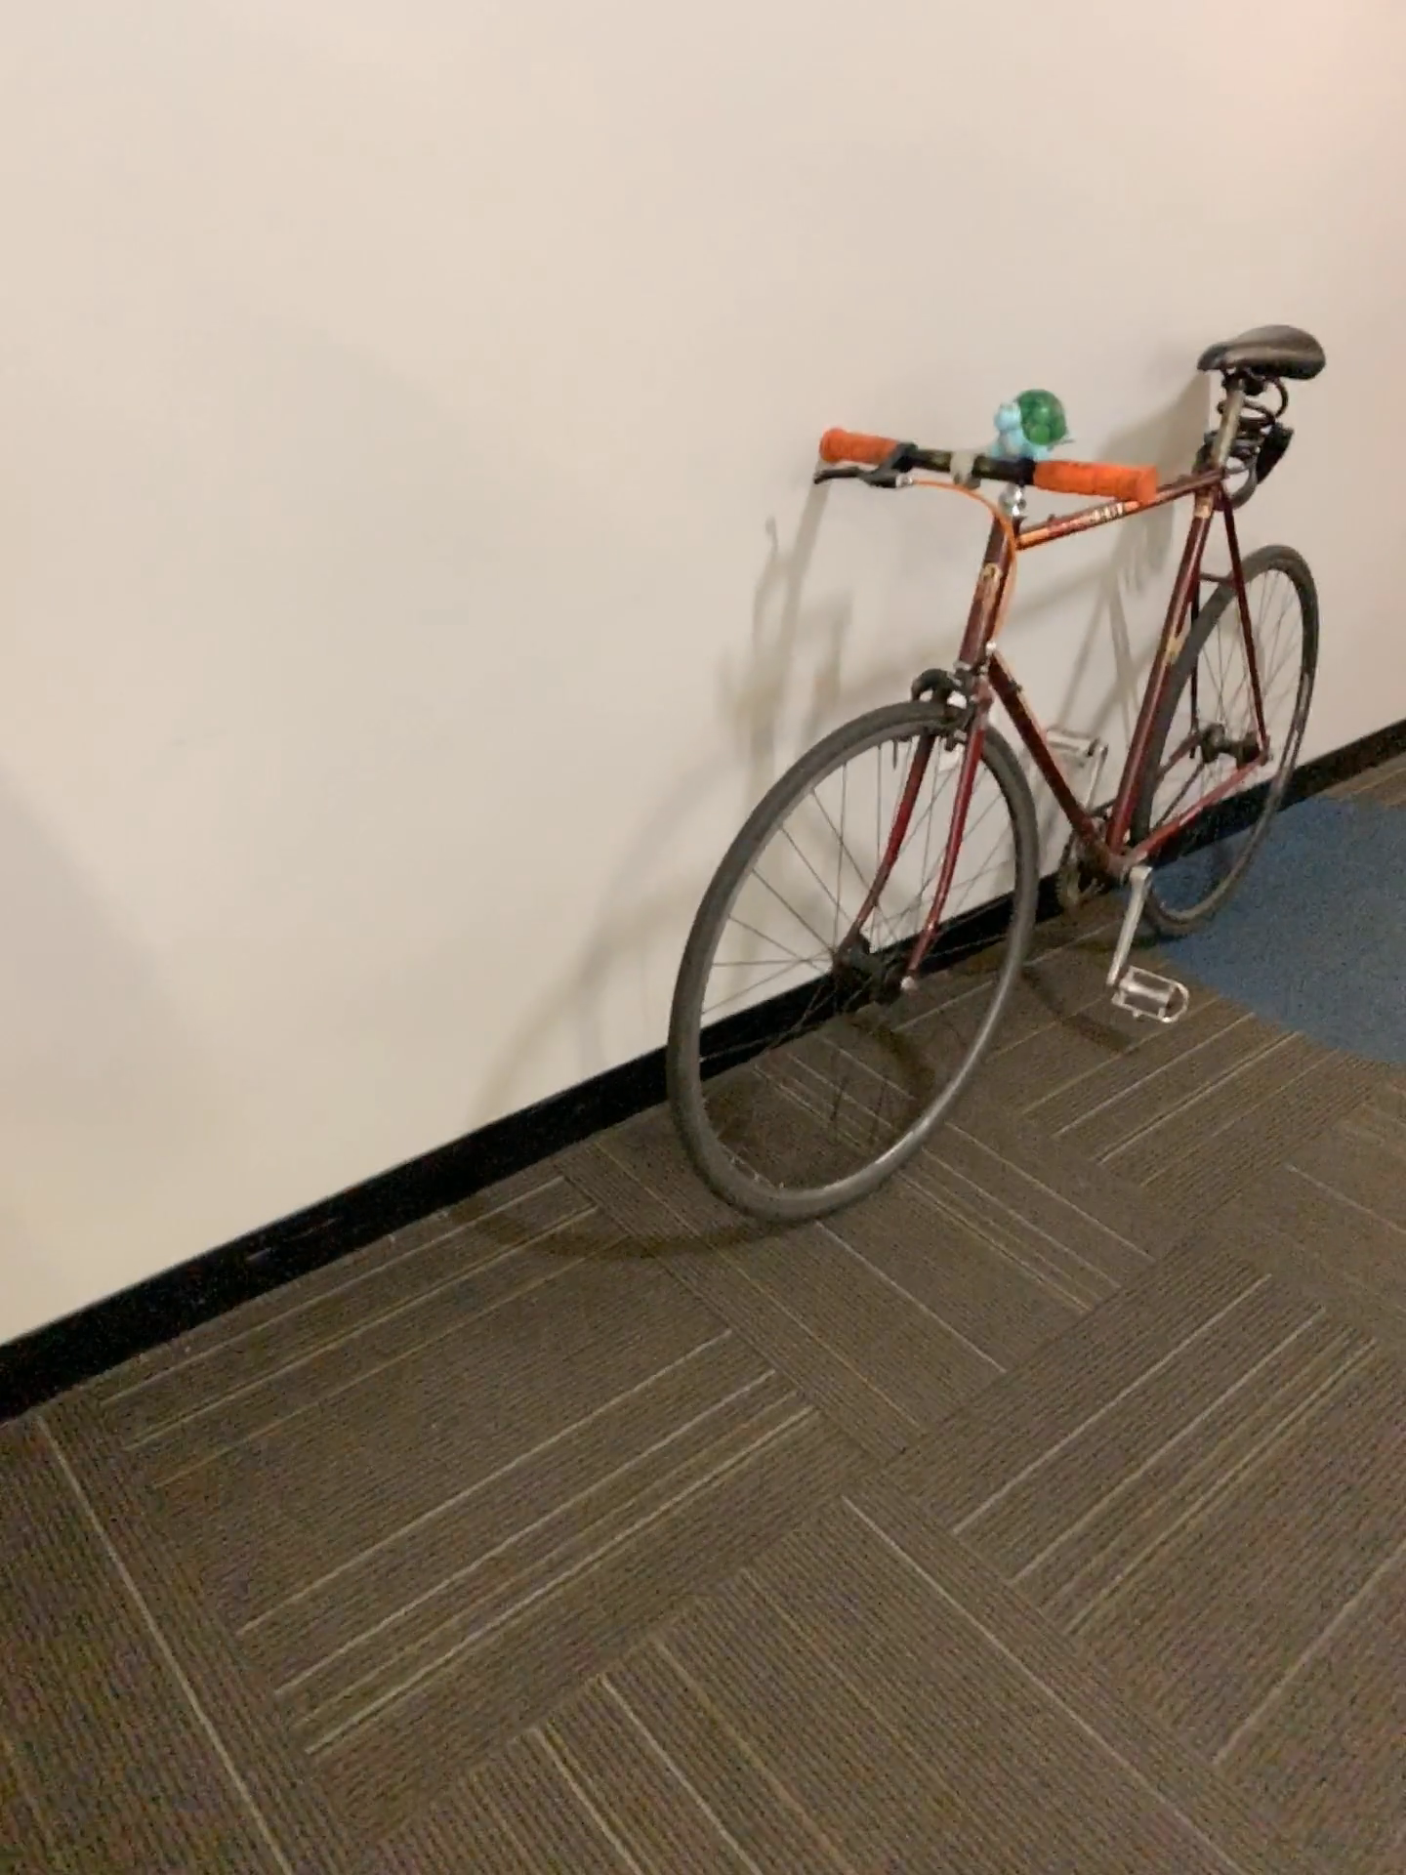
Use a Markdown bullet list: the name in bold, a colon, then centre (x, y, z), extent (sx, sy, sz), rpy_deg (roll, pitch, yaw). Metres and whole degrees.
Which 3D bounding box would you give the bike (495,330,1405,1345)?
- **bike**: centre (0.499, -0.293, 2.026), extent (0.450, 0.909, 1.630), rpy_deg (27, 37, 35)
